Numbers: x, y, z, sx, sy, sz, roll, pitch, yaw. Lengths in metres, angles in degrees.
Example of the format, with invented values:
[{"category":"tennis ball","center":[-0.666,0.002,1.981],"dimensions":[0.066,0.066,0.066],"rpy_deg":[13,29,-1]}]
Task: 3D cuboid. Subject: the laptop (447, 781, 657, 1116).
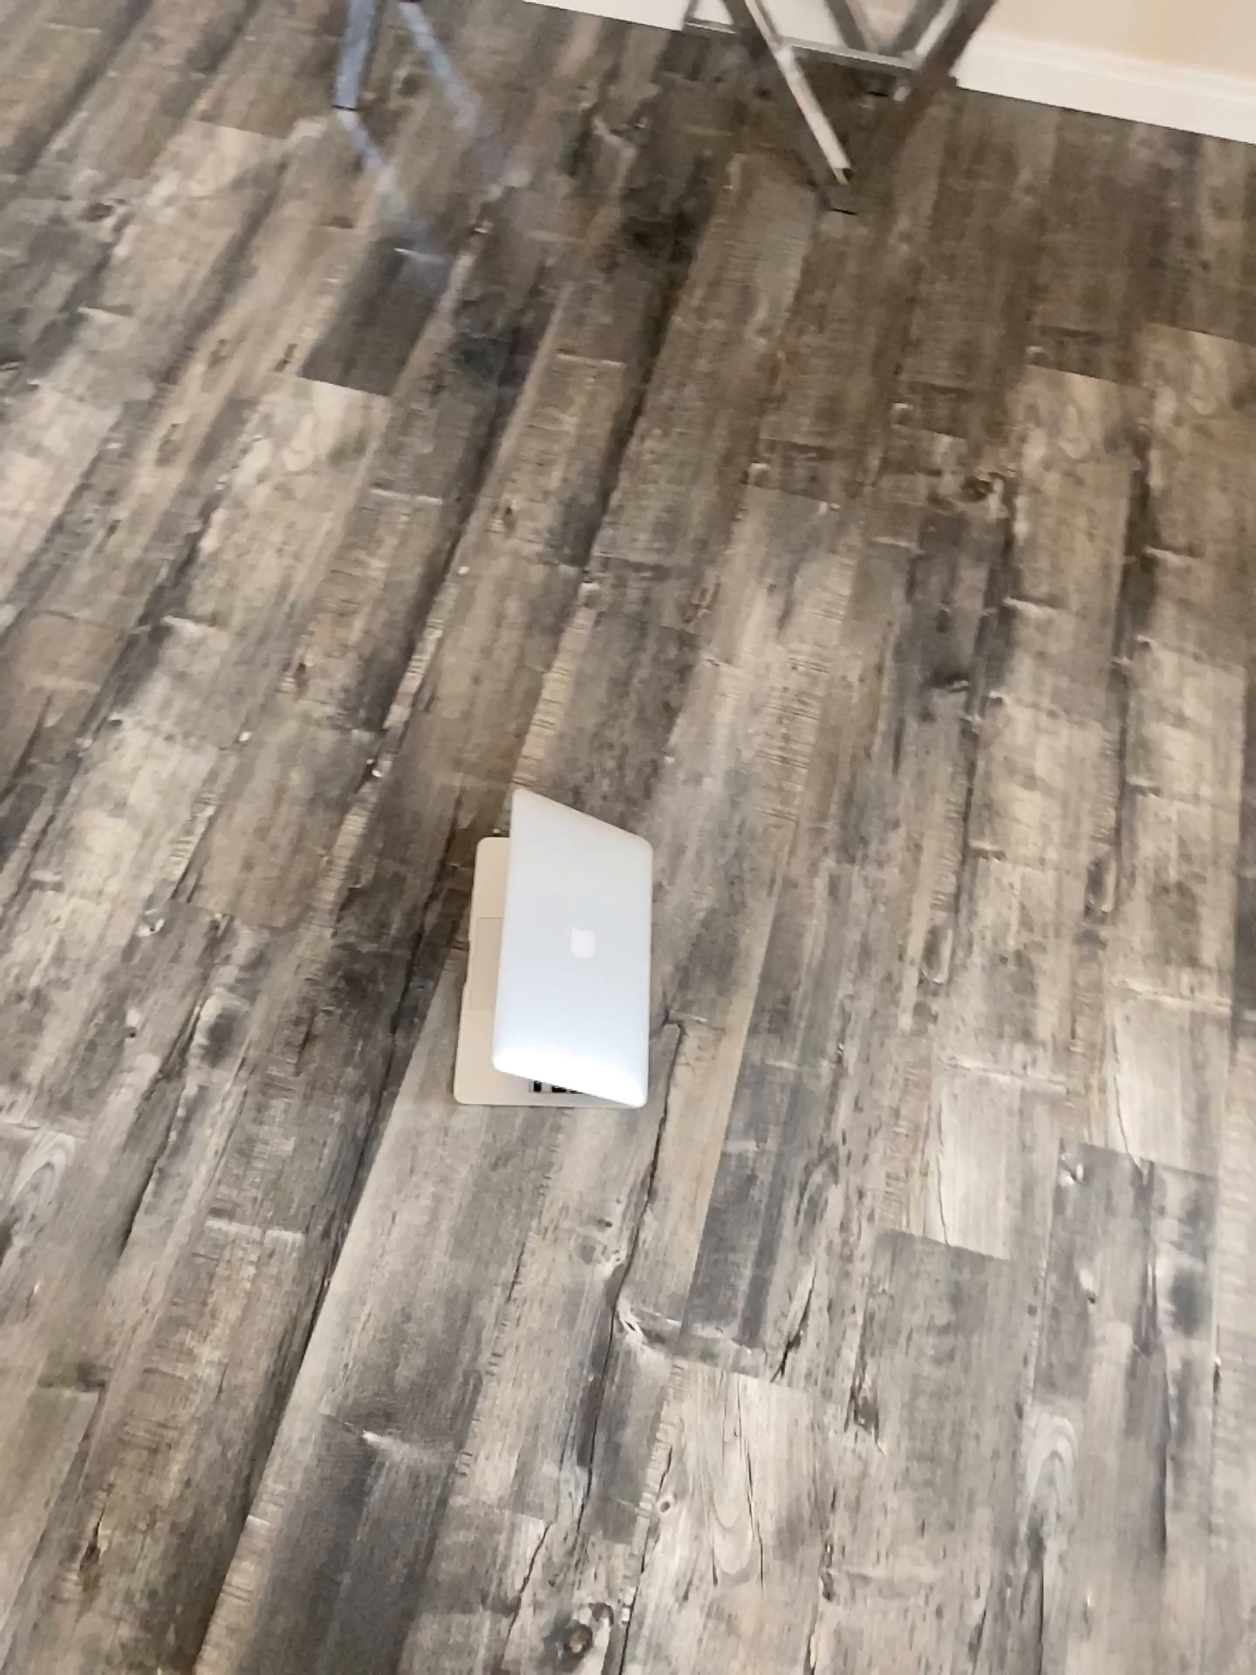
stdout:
[{"category":"laptop","center":[-0.064,0.101,1.178],"dimensions":[0.172,0.113,0.271],"rpy_deg":[3,63,-2]}]
